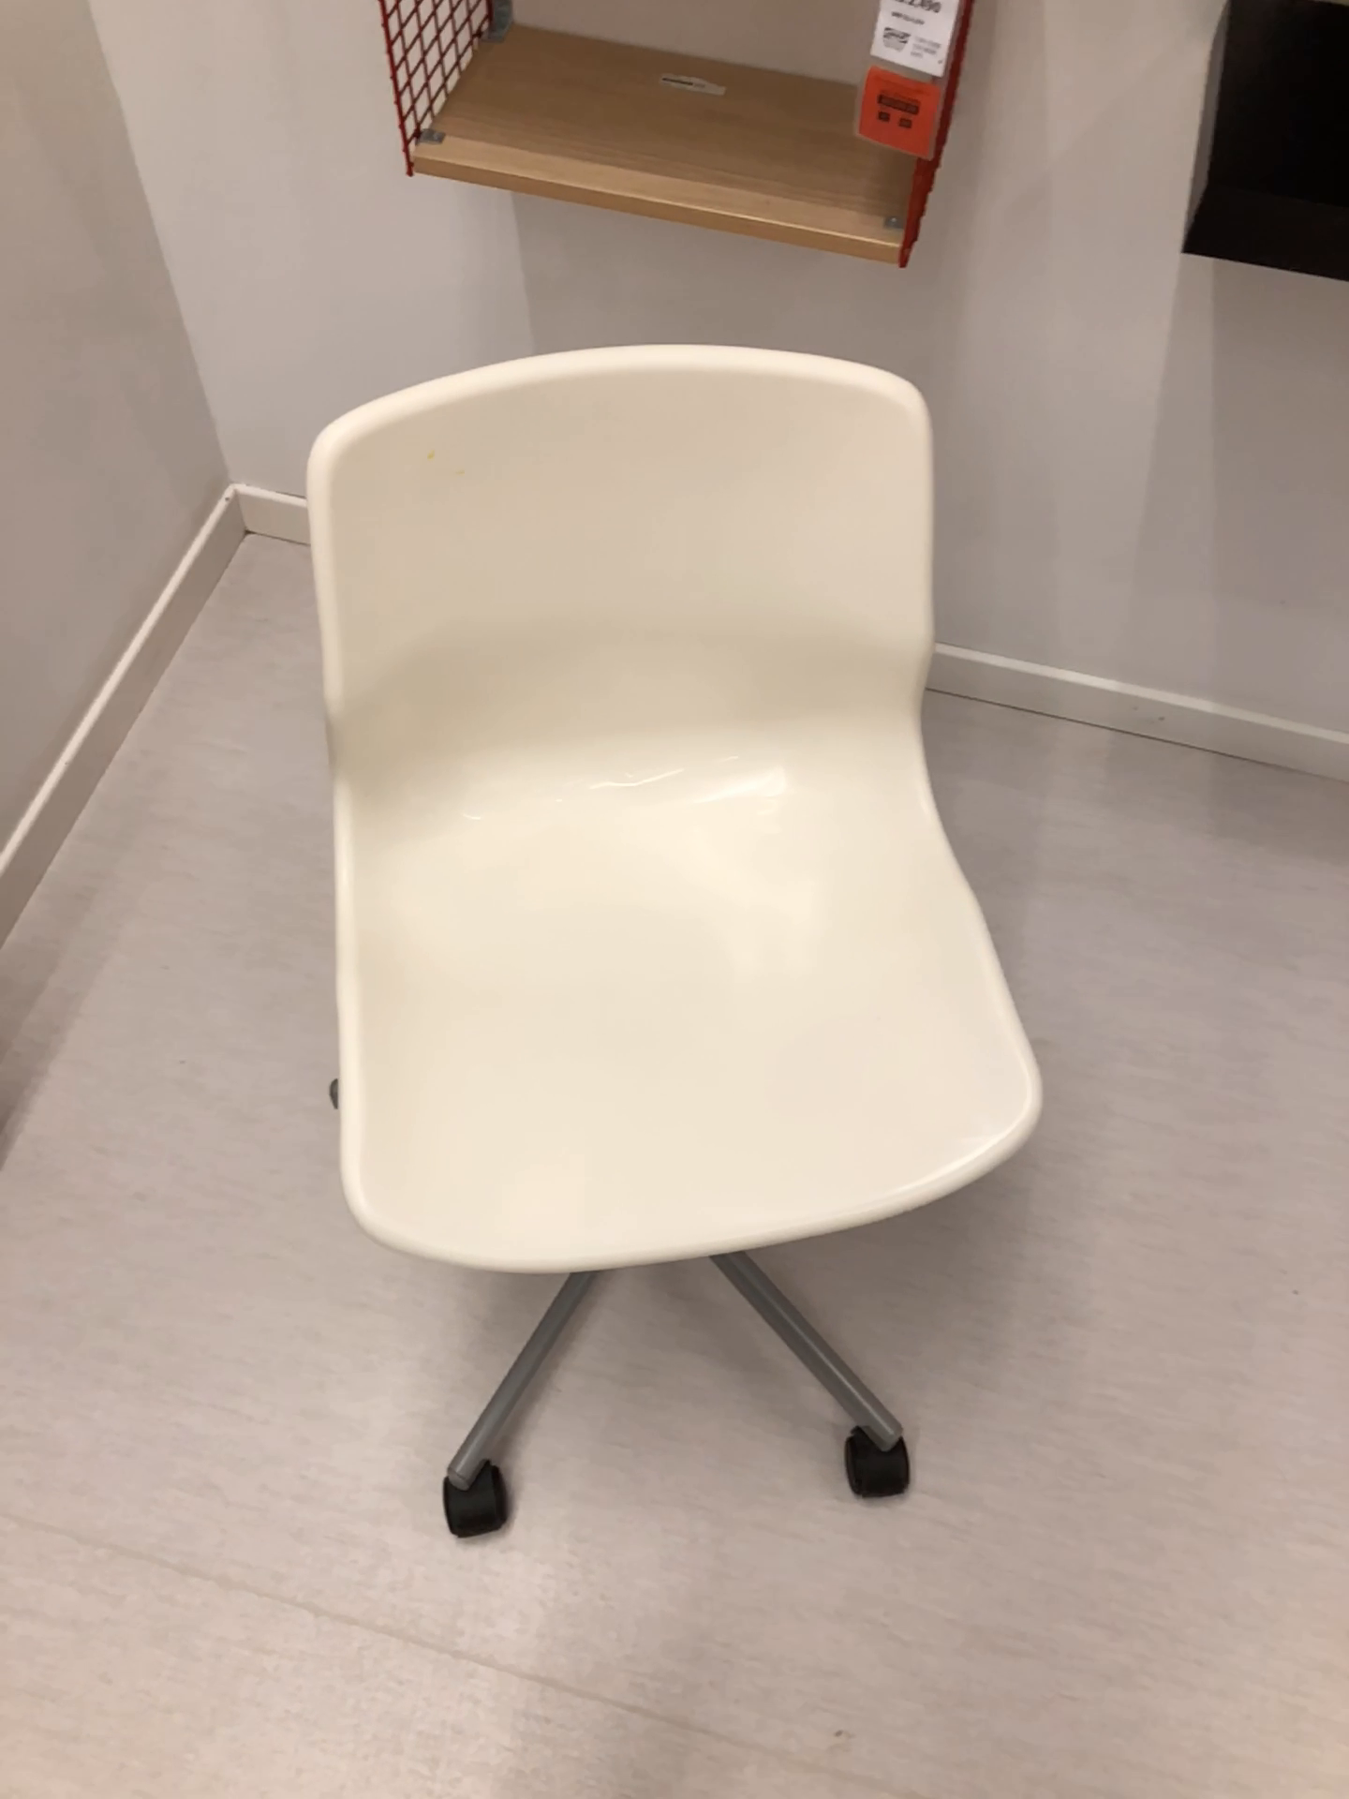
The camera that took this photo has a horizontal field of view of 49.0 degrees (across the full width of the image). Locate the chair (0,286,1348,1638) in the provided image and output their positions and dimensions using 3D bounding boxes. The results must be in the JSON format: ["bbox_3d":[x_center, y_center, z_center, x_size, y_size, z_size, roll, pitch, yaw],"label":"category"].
[{"bbox_3d":[-0.002,0.091,1.038,0.620,0.687,0.623,-7,59,-6],"label":"chair"}]
